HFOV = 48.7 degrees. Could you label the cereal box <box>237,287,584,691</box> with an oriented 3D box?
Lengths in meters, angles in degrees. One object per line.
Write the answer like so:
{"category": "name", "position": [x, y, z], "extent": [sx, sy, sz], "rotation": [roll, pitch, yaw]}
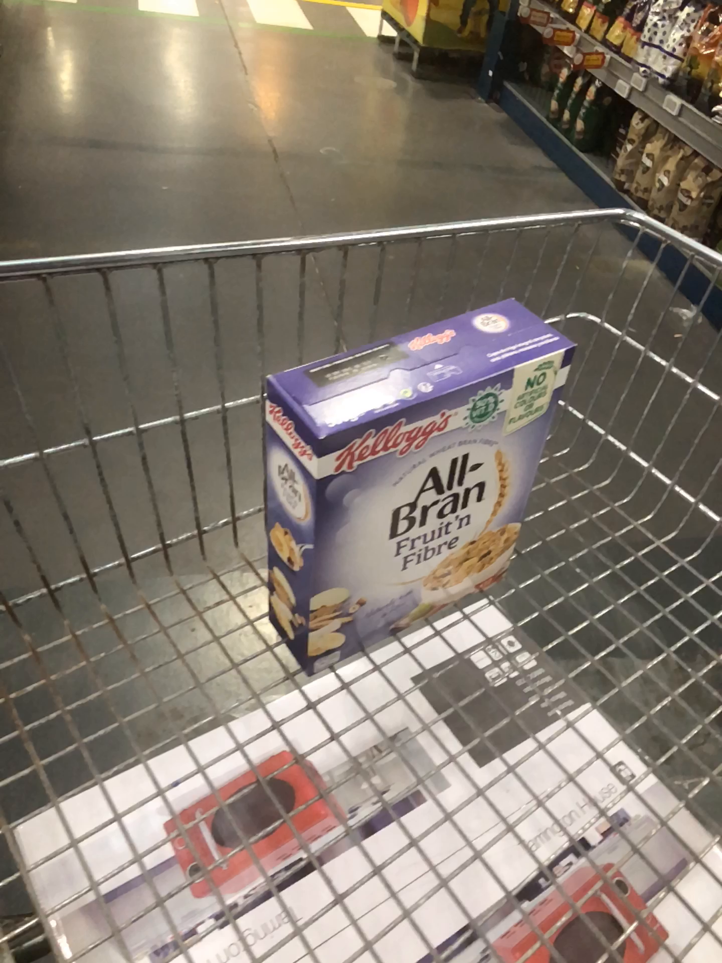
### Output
{"category": "cereal box", "position": [0.026, 0.008, 0.557], "extent": [0.200, 0.229, 0.080], "rotation": [-23, 50, -26]}
